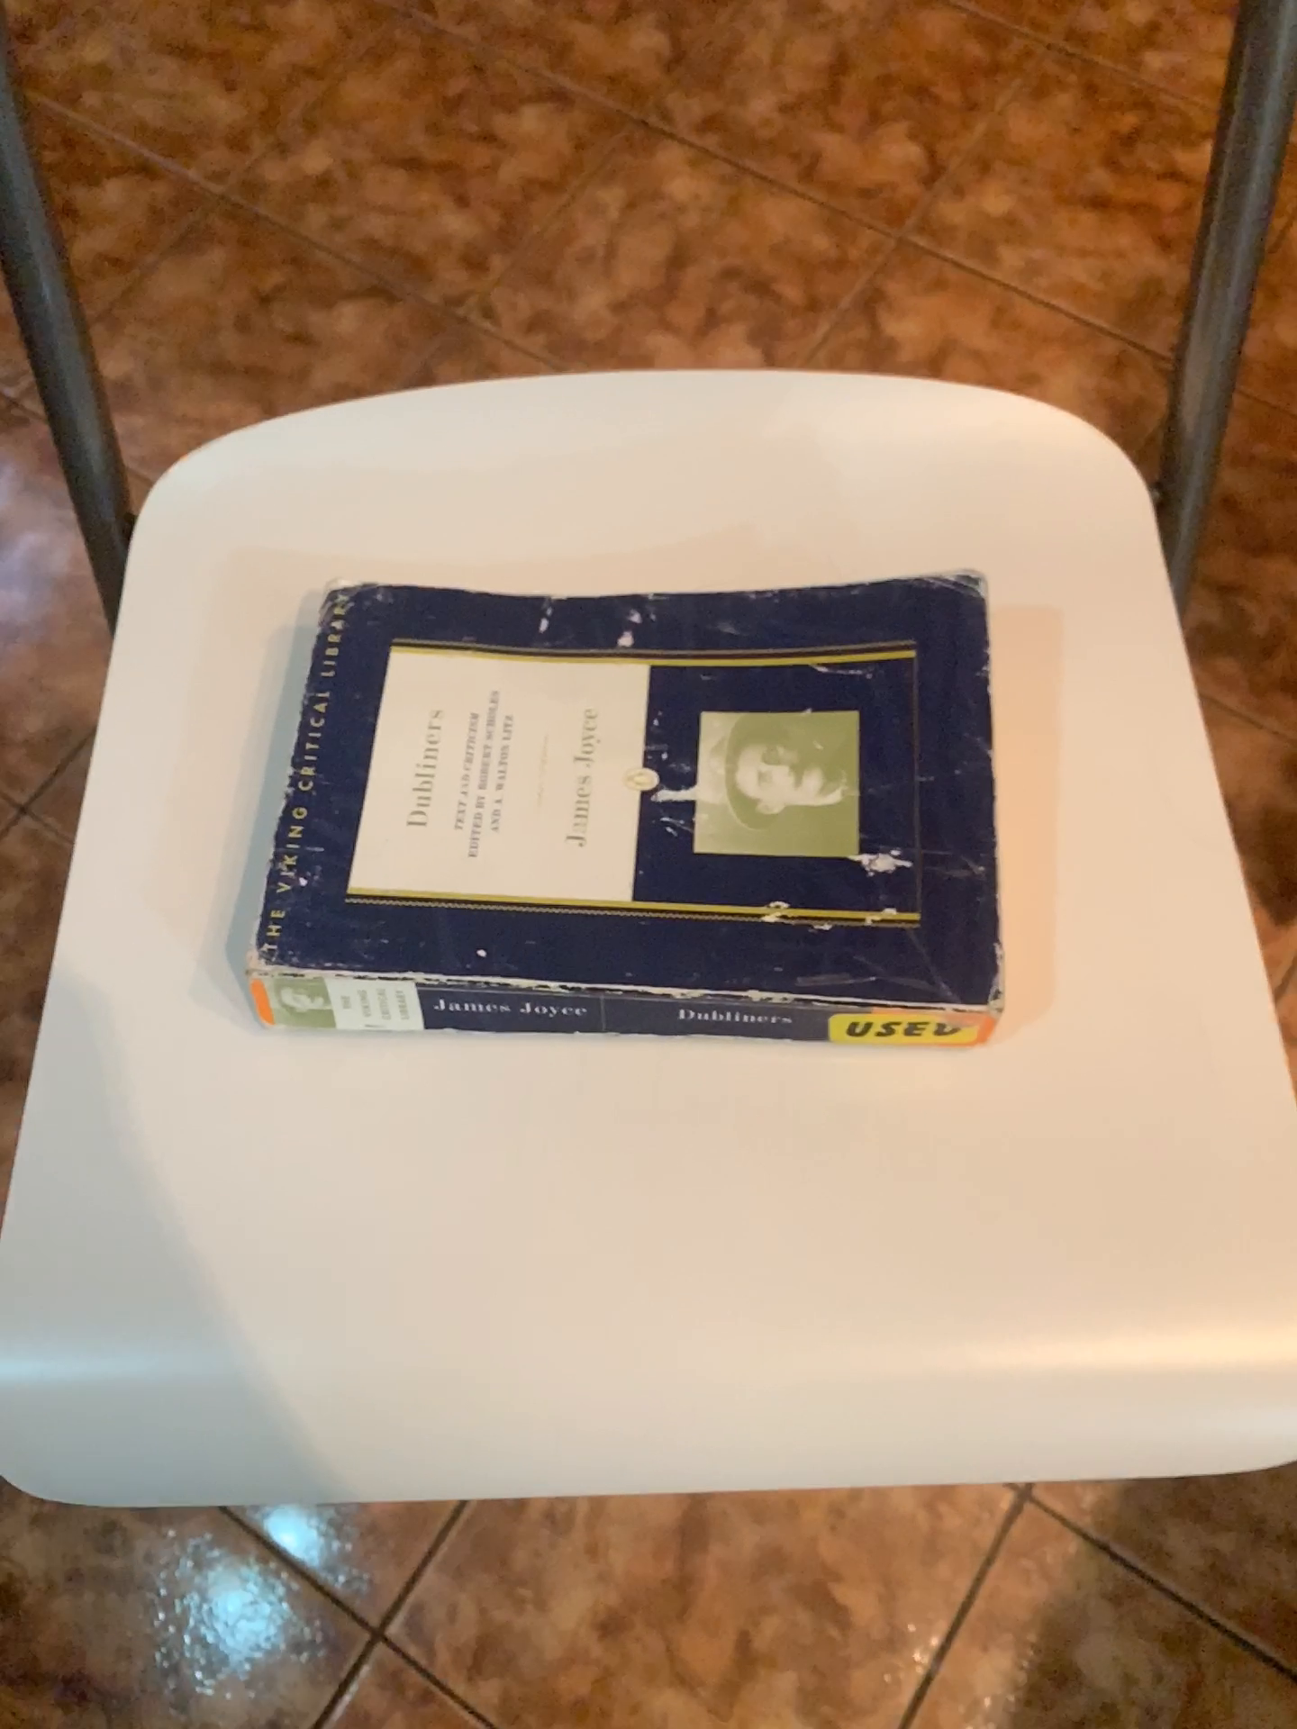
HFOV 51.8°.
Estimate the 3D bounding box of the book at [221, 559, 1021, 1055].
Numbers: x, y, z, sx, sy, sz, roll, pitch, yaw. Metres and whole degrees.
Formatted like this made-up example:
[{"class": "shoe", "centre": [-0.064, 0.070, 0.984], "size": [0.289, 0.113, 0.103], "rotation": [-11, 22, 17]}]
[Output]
[{"class": "book", "centre": [-0.005, -0.018, 0.370], "size": [0.197, 0.035, 0.132], "rotation": [1, 68, 2]}]
